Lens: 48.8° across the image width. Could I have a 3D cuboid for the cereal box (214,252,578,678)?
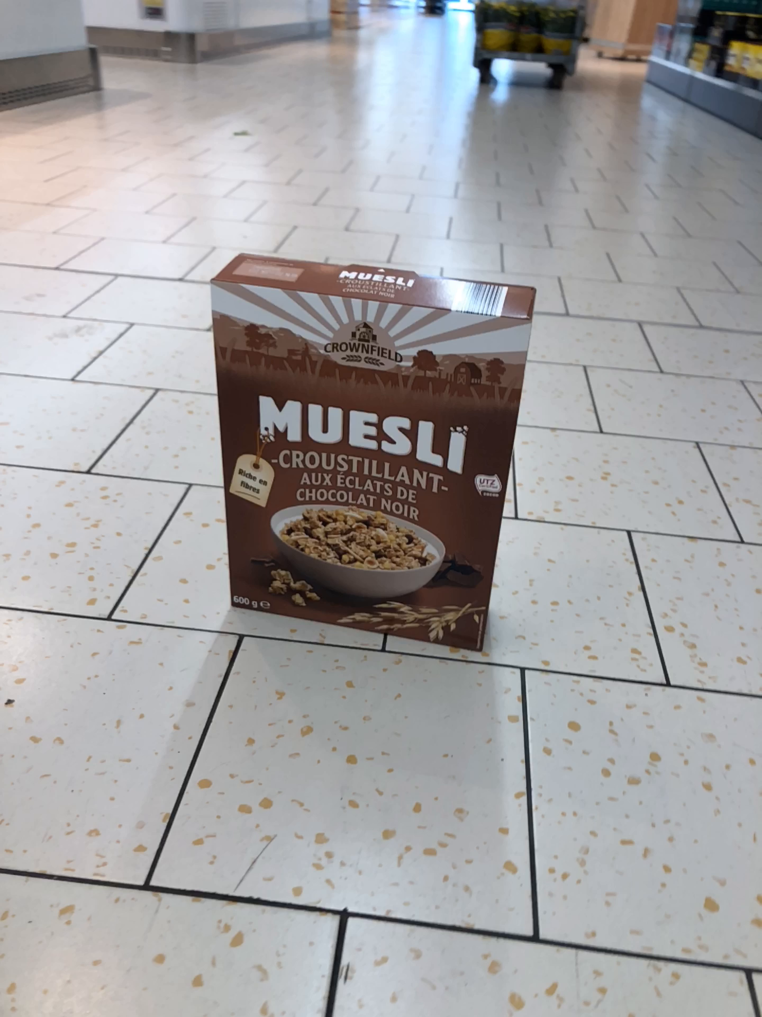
[{"bbox_3d":[0.004,-0.025,0.547,0.200,0.239,0.070,10,31,11],"label":"cereal box"}]
